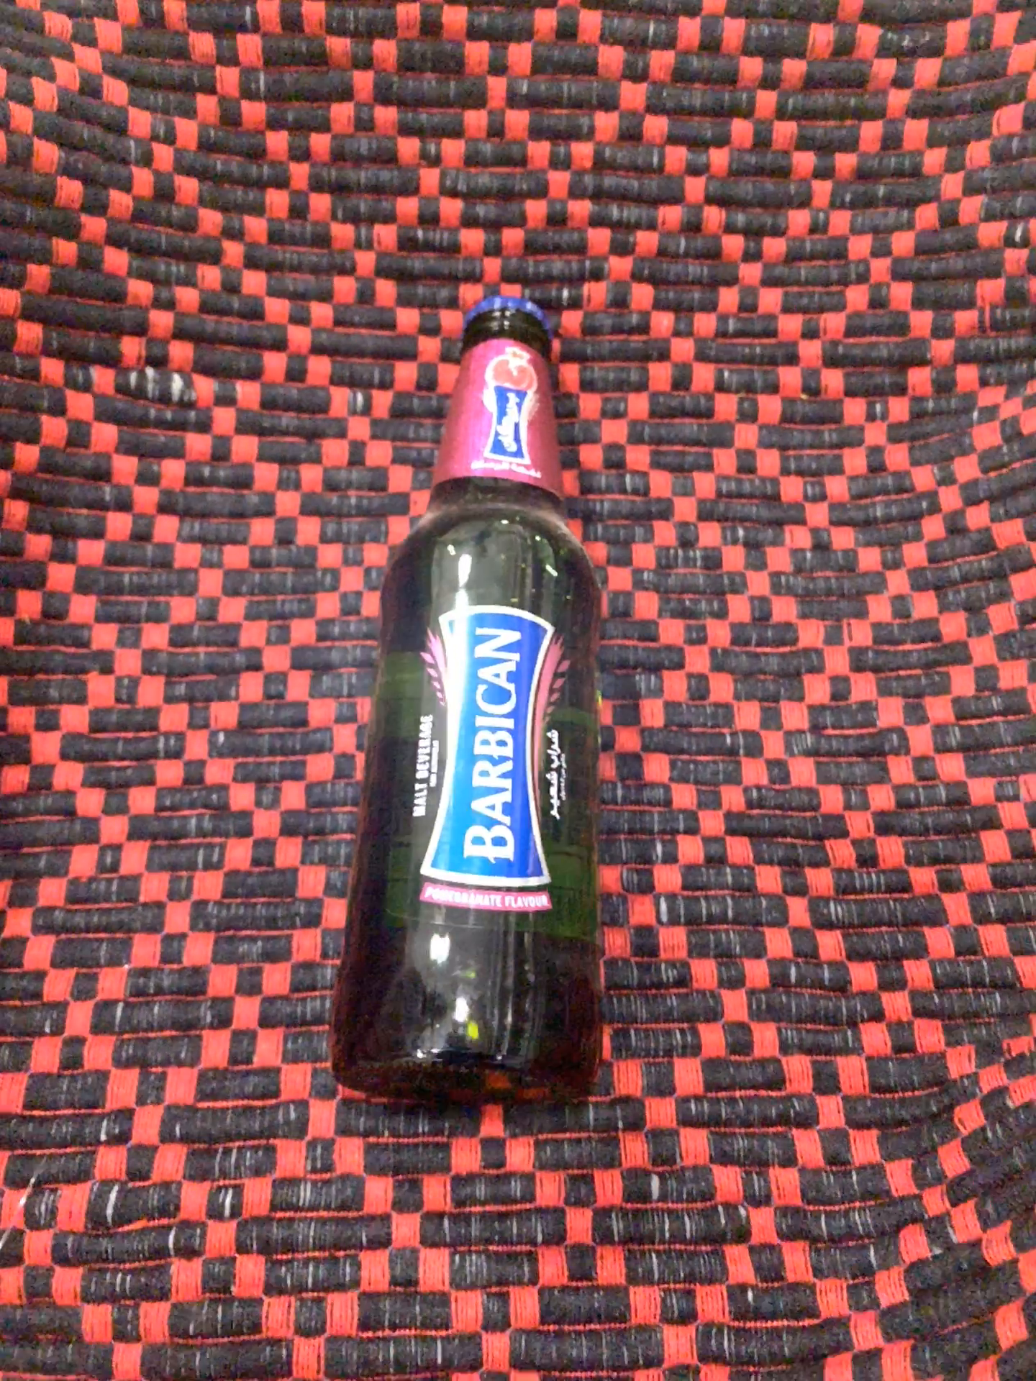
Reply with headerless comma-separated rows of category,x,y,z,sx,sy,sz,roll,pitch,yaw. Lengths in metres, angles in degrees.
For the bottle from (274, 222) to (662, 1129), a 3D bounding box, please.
bottle,-0.007,-0.017,0.294,0.070,0.080,0.240,3,57,-1
